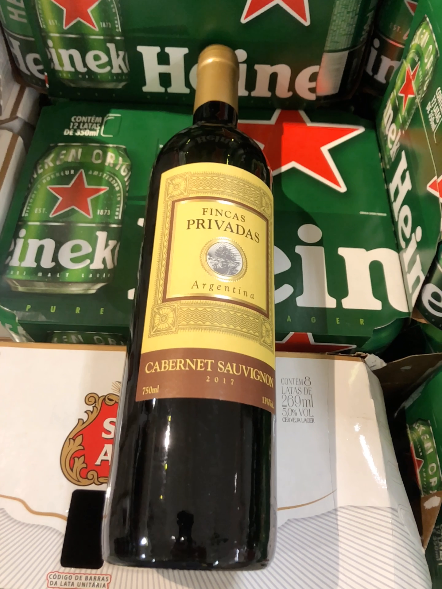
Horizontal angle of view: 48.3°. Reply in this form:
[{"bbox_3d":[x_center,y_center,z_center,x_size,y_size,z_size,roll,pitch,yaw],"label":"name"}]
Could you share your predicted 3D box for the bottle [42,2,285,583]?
[{"bbox_3d":[-0.011,-0.036,0.271,0.080,0.060,0.332,3,60,0],"label":"bottle"}]
